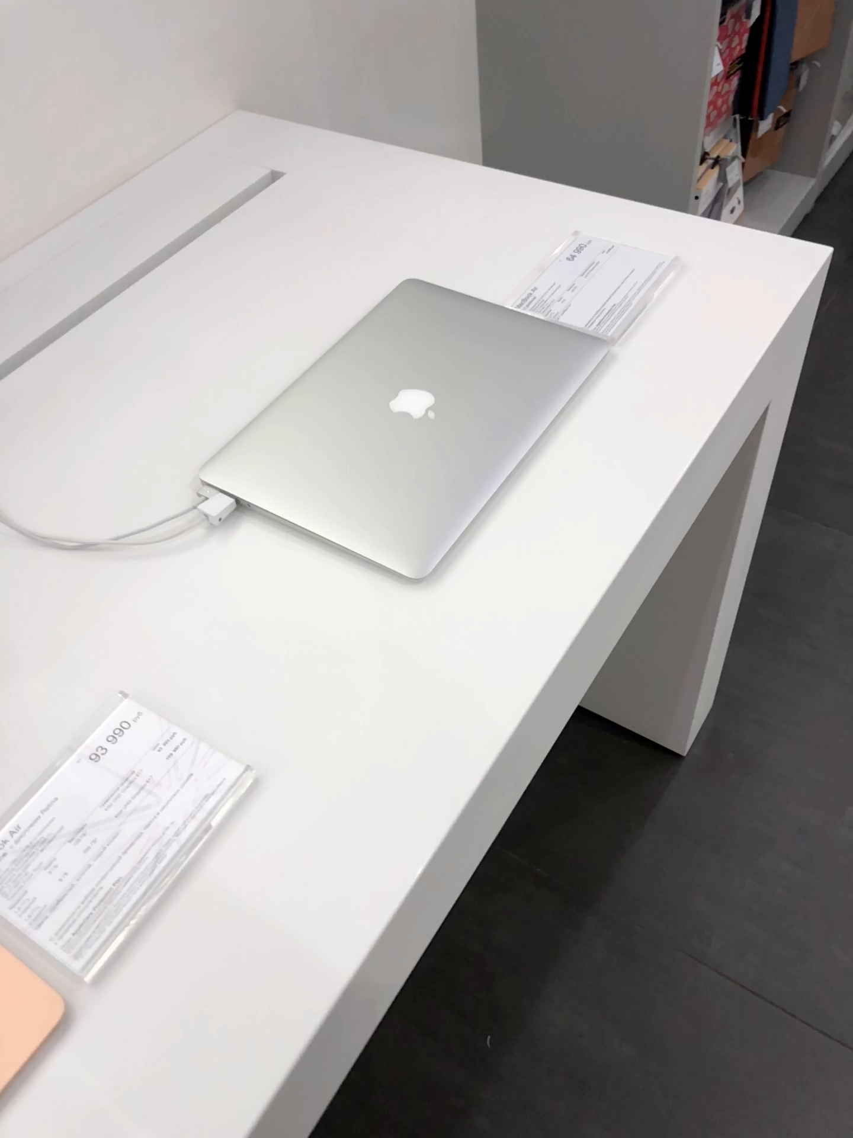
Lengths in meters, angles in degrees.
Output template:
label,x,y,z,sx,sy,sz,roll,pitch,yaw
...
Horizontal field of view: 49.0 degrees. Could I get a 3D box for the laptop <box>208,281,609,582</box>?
label,x,y,z,sx,sy,sz,roll,pitch,yaw
laptop,-0.007,-0.137,0.805,0.210,0.008,0.308,25,56,22
